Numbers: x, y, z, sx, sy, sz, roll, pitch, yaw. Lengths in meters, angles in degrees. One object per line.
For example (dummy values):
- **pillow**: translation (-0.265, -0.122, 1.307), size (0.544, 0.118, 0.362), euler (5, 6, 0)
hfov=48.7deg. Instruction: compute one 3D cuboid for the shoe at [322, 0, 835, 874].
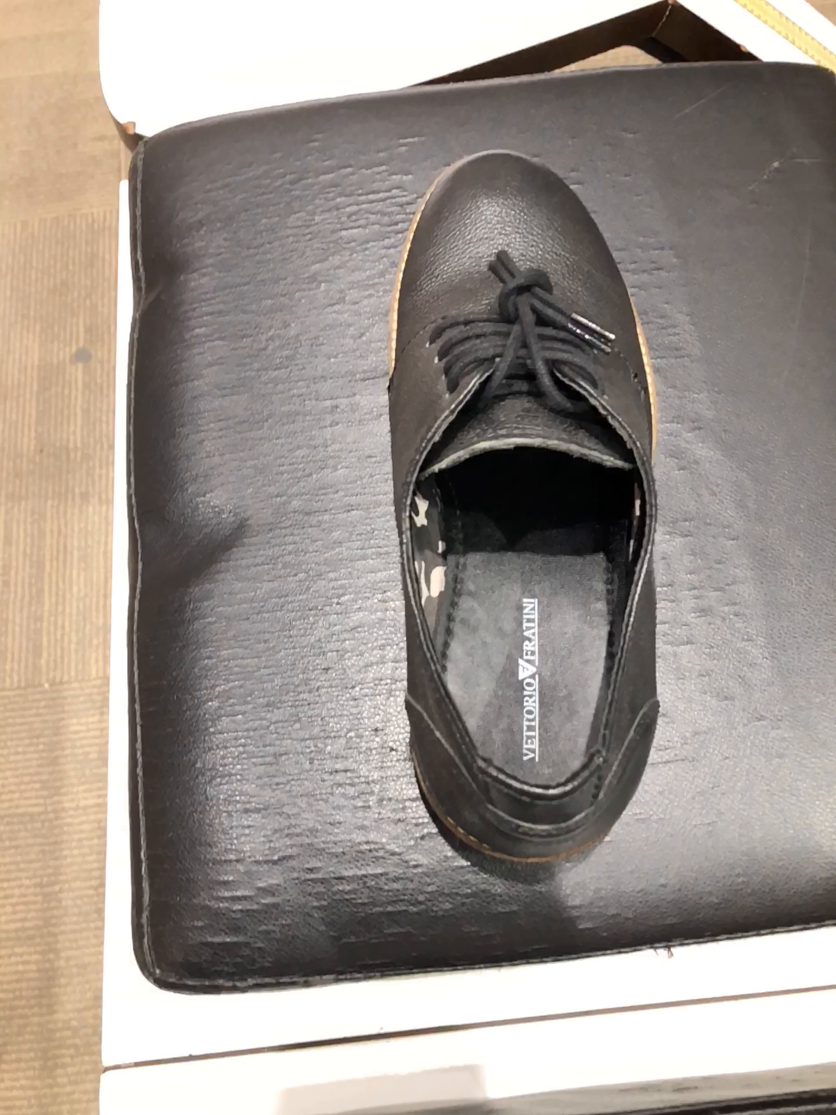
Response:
- **shoe**: translation (0.032, -0.056, 0.296), size (0.110, 0.100, 0.291), euler (-3, 69, 2)
